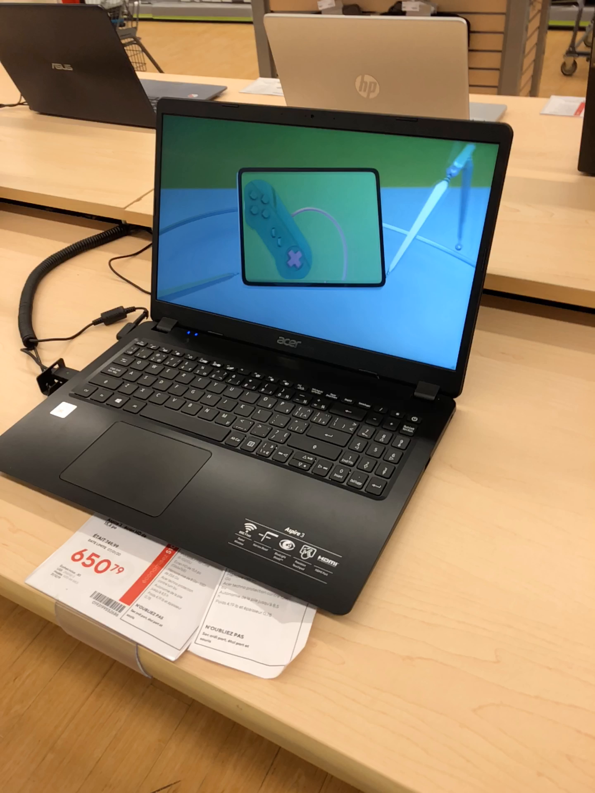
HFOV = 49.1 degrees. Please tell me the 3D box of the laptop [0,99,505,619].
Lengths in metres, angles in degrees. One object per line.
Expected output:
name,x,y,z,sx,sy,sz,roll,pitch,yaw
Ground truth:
laptop,-0.057,-0.078,0.546,0.355,0.210,0.328,16,44,24
